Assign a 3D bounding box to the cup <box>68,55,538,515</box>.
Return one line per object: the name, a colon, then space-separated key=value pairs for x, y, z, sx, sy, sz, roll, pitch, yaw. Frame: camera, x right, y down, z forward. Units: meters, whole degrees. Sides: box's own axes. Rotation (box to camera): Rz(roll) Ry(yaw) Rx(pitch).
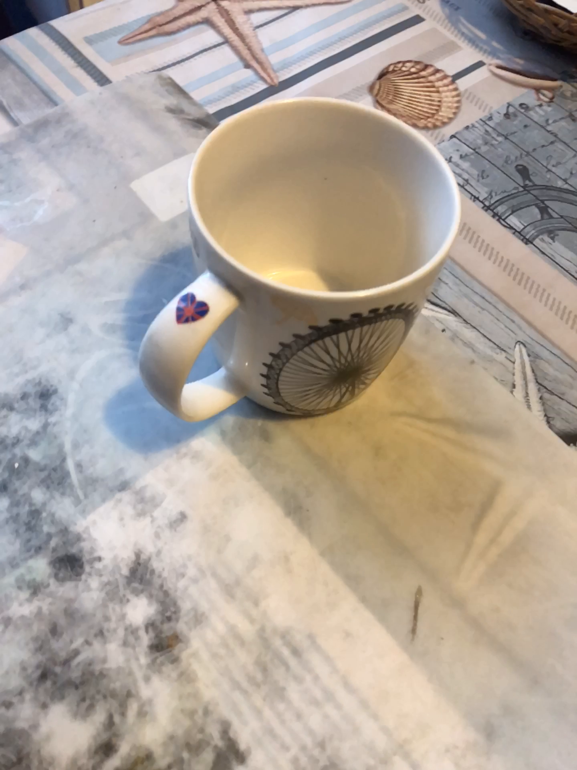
cup: x=0.006 y=-0.037 z=0.232 sx=0.084 sy=0.086 sz=0.121 roll=41 pitch=64 yaw=20
